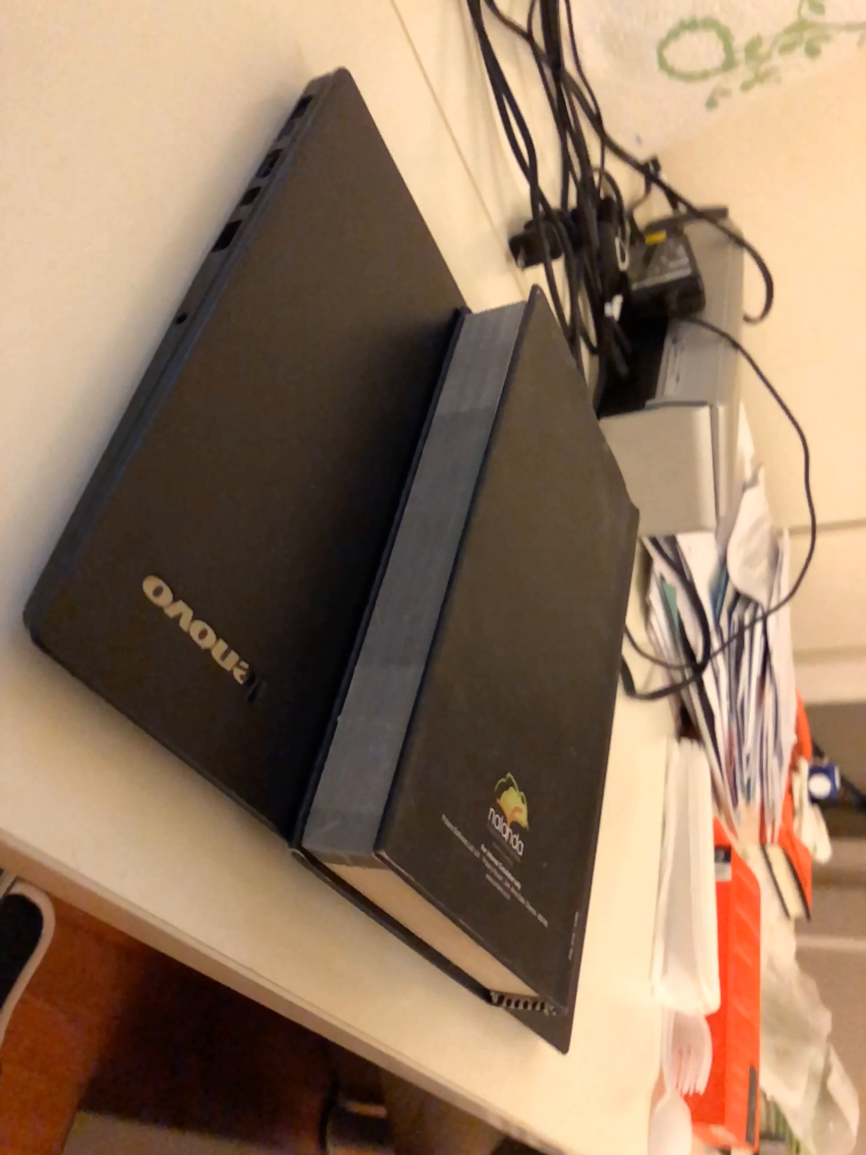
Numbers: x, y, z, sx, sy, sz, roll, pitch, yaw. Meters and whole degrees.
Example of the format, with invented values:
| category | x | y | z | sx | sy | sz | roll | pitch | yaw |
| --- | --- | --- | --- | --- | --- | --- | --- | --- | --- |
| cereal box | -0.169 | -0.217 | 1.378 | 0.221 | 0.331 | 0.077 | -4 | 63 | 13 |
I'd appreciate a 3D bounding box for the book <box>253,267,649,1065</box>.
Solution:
| category | x | y | z | sx | sy | sz | roll | pitch | yaw |
| --- | --- | --- | --- | --- | --- | --- | --- | --- | --- |
| book | 0.029 | 0.027 | 0.340 | 0.150 | 0.040 | 0.231 | 54 | 39 | -43 |
